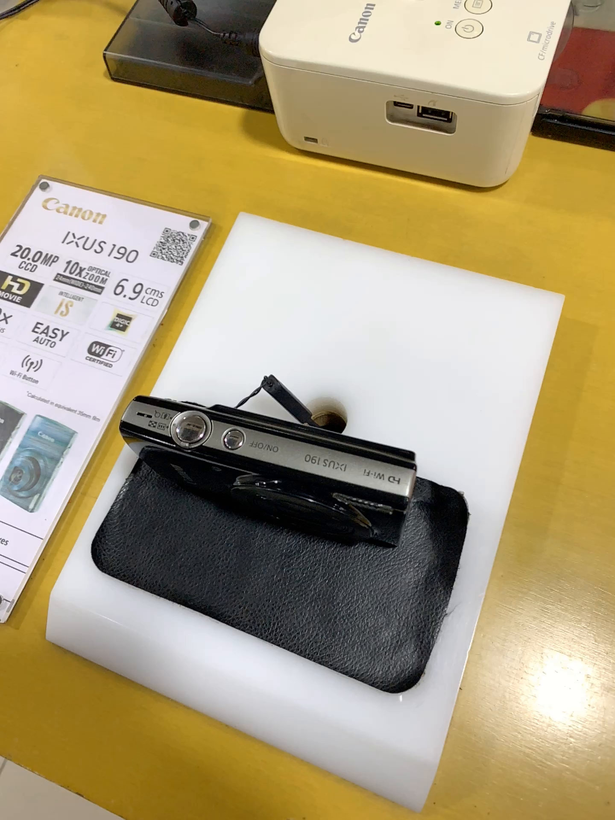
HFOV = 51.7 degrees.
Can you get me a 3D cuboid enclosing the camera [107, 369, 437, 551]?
[{"bbox_3d":[-0.008,0.018,0.203,0.090,0.060,0.020,13,70,11],"label":"camera"}]
